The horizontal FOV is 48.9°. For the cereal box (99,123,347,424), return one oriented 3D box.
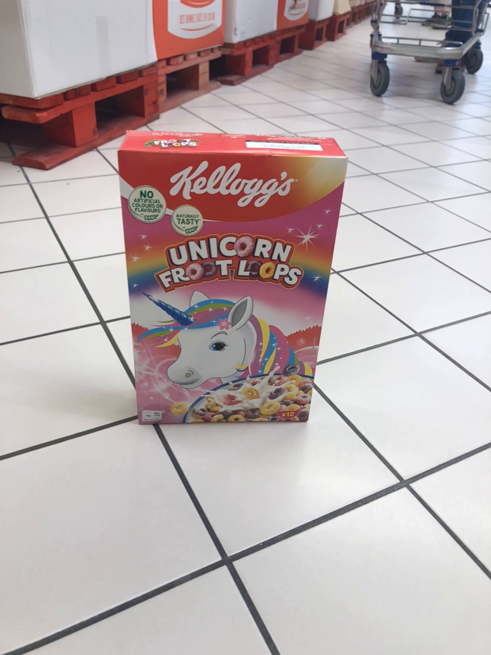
[{"bbox_3d":[-0.026,-0.038,0.546,0.200,0.298,0.070,1,33,-5],"label":"cereal box"}]
